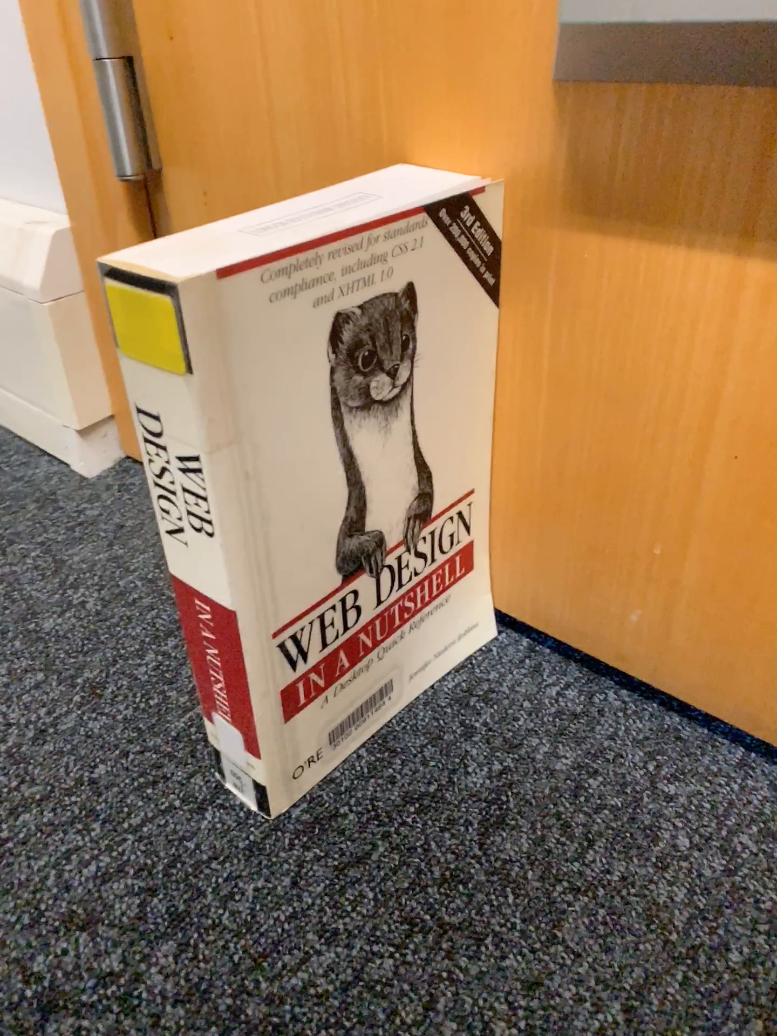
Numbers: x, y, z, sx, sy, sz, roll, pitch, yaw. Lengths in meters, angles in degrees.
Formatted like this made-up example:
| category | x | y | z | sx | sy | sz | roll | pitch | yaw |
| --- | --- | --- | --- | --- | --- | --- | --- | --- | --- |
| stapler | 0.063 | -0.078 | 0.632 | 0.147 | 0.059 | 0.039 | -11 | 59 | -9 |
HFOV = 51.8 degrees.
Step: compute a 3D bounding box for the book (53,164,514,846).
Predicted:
| category | x | y | z | sx | sy | sz | roll | pitch | yaw |
| --- | --- | --- | --- | --- | --- | --- | --- | --- | --- |
| book | -0.020 | -0.008 | 0.334 | 0.050 | 0.228 | 0.171 | 22 | 41 | 33 |
